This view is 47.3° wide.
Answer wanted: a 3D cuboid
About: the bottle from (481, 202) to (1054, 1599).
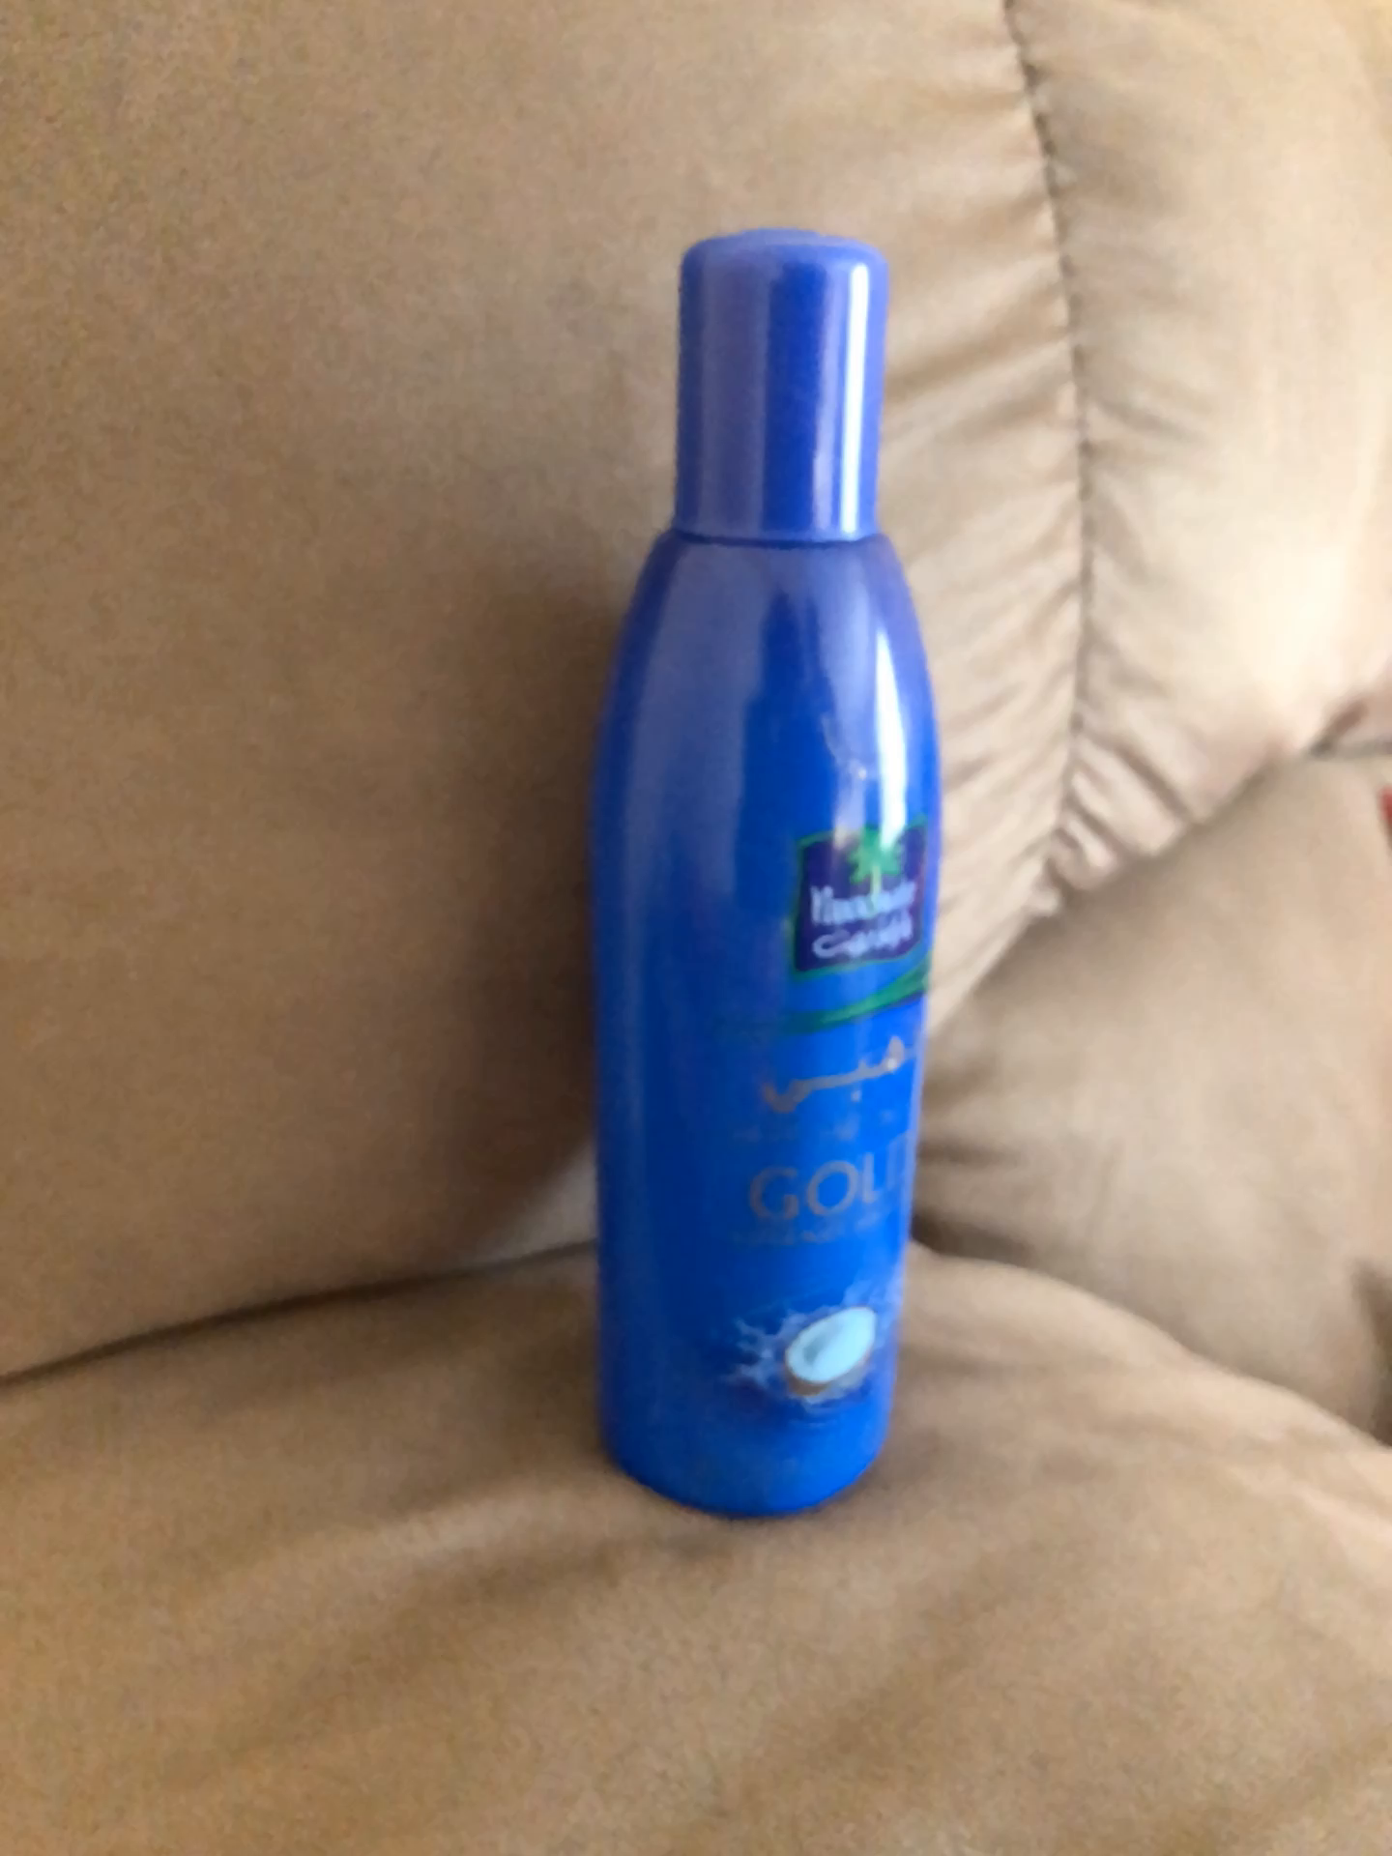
[{"bbox_3d":[0.006,-0.002,0.226,0.050,0.180,0.050,1,20,0],"label":"bottle"}]
